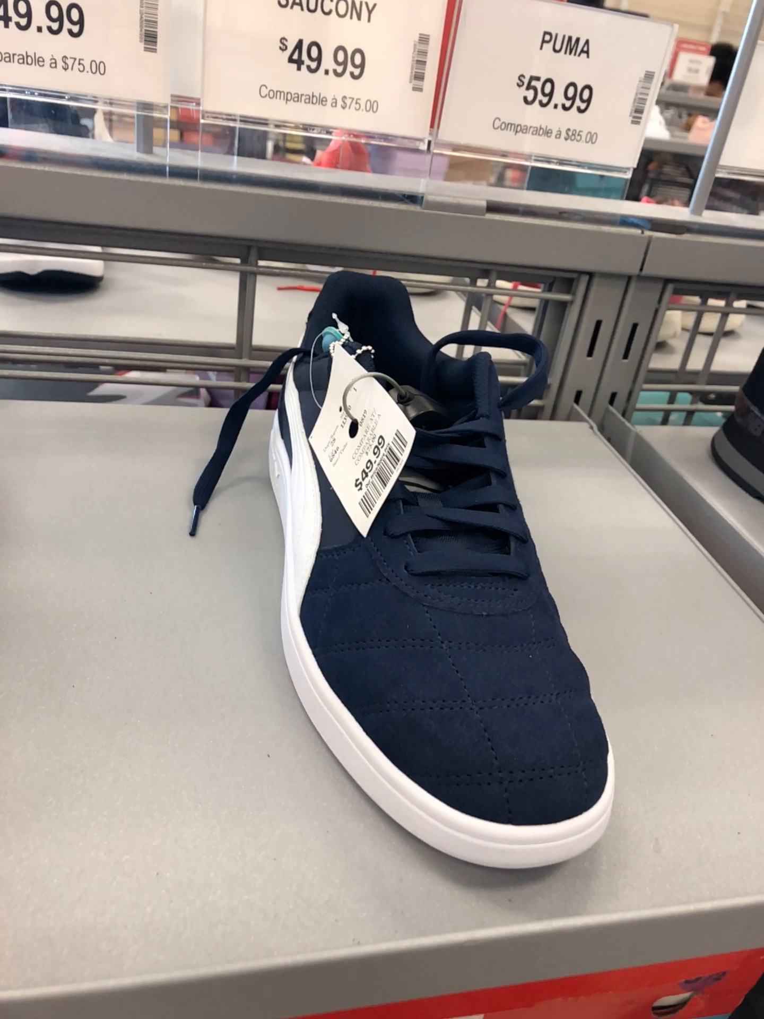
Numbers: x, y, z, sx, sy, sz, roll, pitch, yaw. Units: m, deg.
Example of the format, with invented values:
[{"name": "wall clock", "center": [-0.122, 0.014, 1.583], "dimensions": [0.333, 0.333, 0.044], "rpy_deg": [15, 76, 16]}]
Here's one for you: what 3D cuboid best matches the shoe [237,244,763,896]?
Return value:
[{"name": "shoe", "center": [0.021, -0.006, 0.325], "dimensions": [0.119, 0.119, 0.242], "rpy_deg": [0, 31, -17]}]
